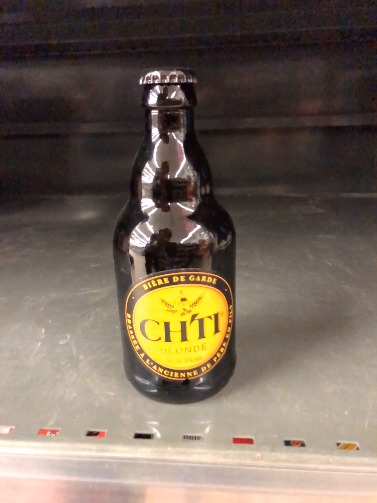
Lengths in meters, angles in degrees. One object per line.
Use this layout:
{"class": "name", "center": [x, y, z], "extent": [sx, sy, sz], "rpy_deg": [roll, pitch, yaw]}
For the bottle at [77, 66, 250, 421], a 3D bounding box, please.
{"class": "bottle", "center": [-0.009, -0.005, 0.228], "extent": [0.070, 0.169, 0.070], "rpy_deg": [-2, 18, 1]}
